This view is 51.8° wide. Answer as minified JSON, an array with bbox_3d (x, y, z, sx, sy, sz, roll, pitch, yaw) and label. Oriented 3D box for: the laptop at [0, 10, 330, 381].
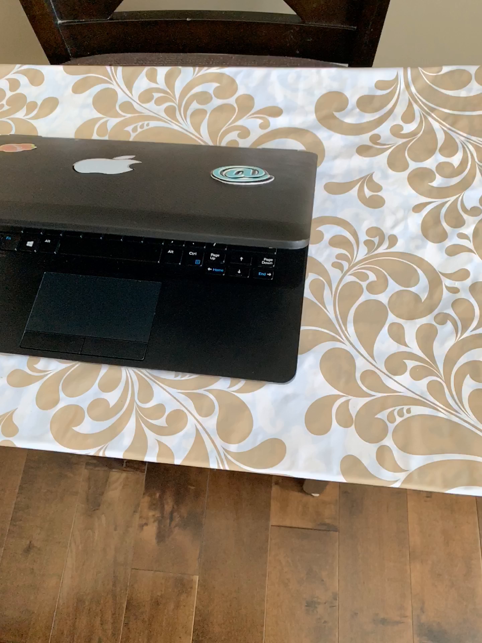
[{"bbox_3d":[-0.101,-0.089,0.352,0.300,0.127,0.199,6,66,6],"label":"laptop"}]
